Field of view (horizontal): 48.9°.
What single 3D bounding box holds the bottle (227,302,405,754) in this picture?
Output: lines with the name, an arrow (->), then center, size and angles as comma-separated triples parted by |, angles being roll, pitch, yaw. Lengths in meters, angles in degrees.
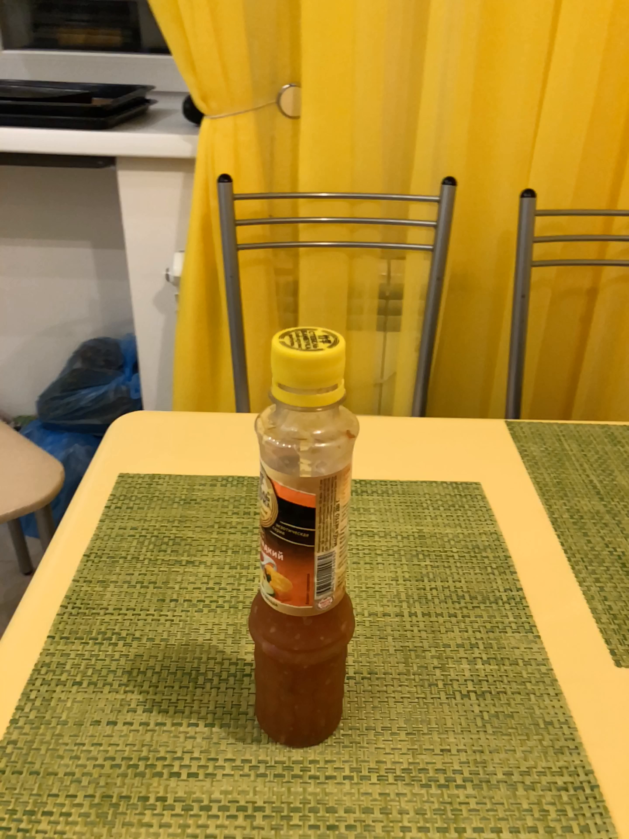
bottle -> -0.005, 0.057, 0.321 | 0.060, 0.209, 0.060 | 2, 29, -1
